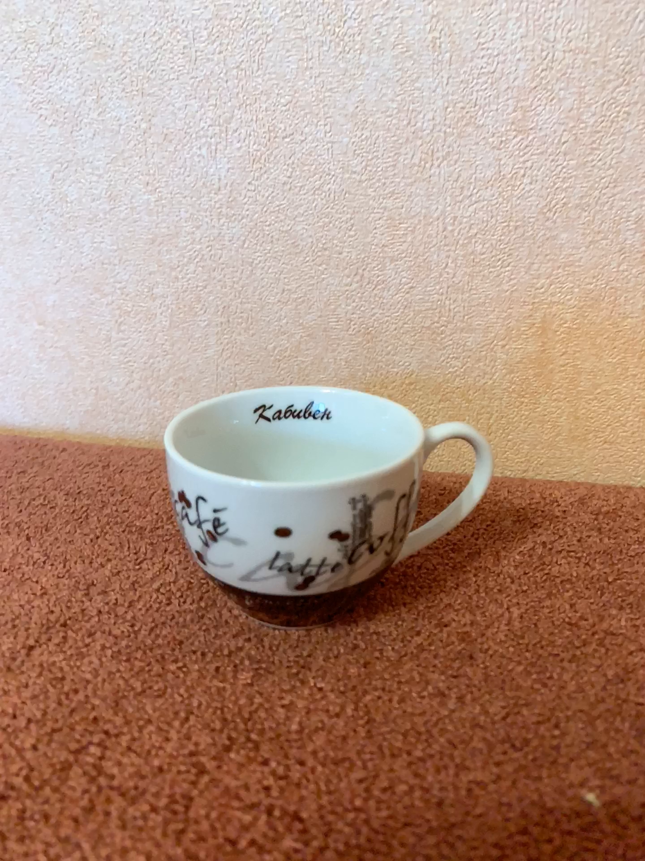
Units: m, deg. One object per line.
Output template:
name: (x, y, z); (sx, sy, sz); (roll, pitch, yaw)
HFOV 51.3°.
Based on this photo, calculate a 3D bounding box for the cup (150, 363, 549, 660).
cup: (0.002, 0.015, 0.173); (0.083, 0.040, 0.065); (-6, 23, -8)
